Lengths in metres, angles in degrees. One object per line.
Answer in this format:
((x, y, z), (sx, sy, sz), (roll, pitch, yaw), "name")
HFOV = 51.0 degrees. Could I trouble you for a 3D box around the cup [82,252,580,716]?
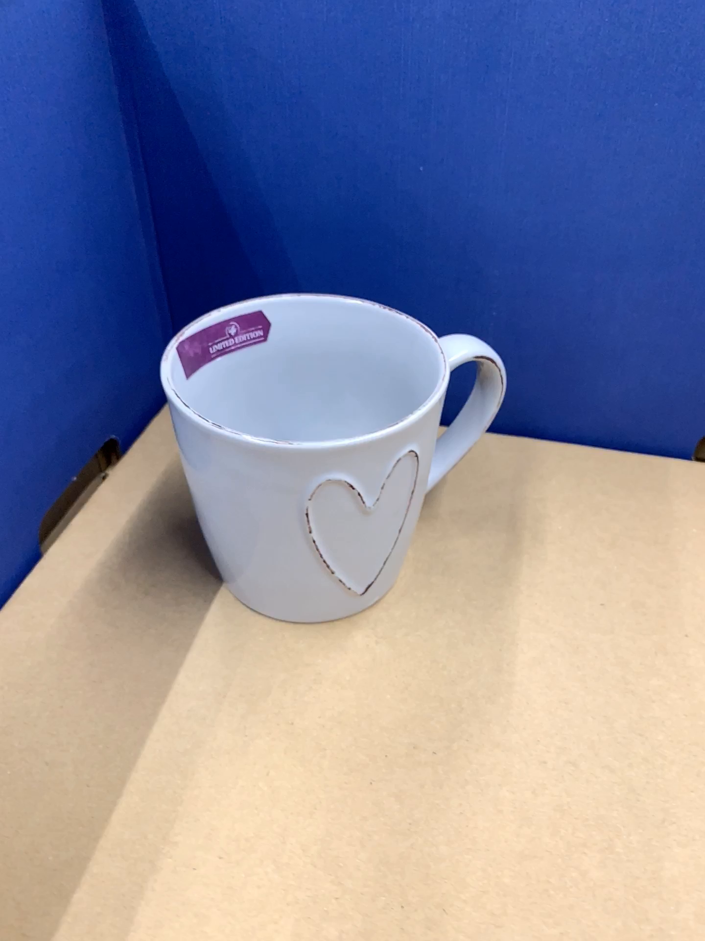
((-0.005, -0.006, 0.253), (0.125, 0.085, 0.091), (-26, 43, -30), "cup")
